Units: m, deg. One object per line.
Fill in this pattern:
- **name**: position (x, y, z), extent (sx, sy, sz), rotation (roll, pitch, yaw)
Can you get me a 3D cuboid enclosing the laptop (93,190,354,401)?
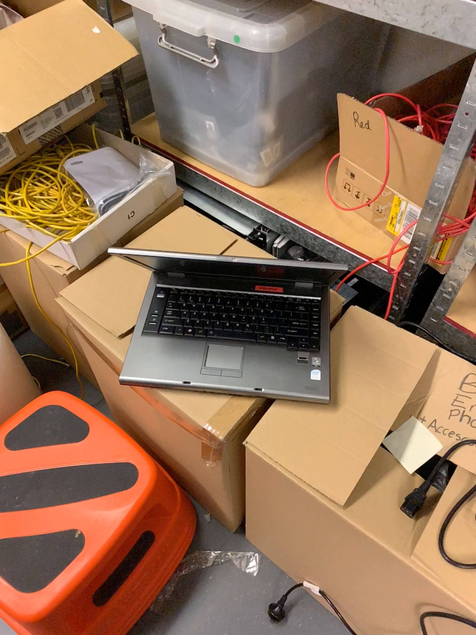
- **laptop**: position (-0.011, -0.041, 0.807), extent (0.352, 0.203, 0.254), rotation (5, 52, 5)
